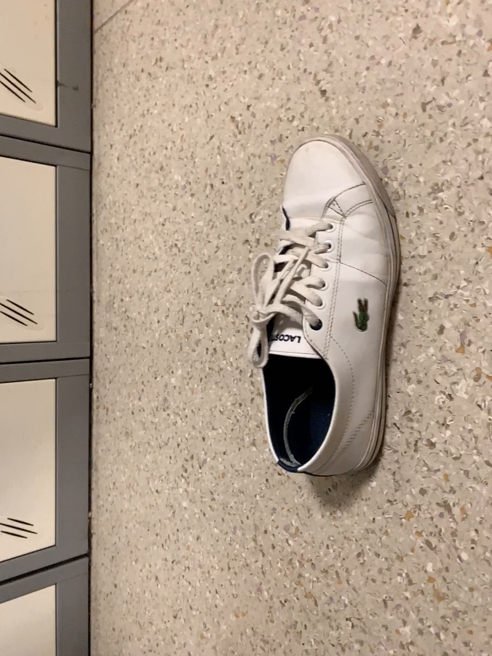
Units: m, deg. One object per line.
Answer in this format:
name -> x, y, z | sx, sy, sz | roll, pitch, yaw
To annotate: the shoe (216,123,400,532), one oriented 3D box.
shoe -> 0.044, -0.001, 0.376 | 0.101, 0.089, 0.250 | 2, 93, 50
